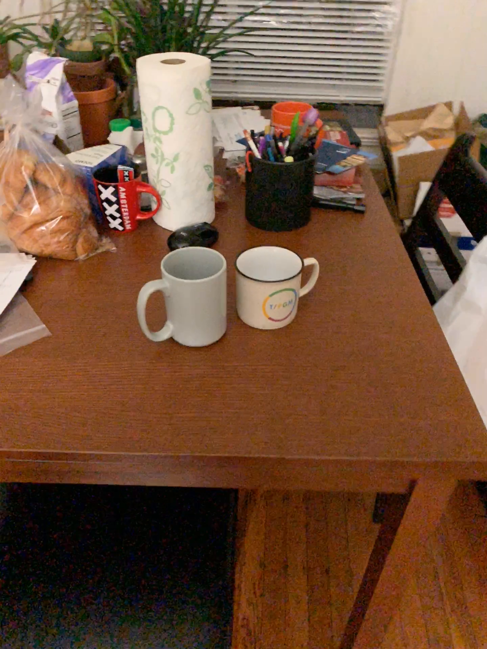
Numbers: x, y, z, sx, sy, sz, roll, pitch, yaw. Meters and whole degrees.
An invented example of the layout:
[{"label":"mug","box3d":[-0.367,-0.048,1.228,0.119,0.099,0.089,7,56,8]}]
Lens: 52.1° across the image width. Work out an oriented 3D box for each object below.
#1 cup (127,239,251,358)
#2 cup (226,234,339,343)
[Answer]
[{"label":"cup","box3d":[-0.073,-0.038,0.669,0.140,0.099,0.101,-10,40,-13]},{"label":"cup","box3d":[0.051,-0.054,0.719,0.130,0.099,0.101,-10,40,-13]}]
